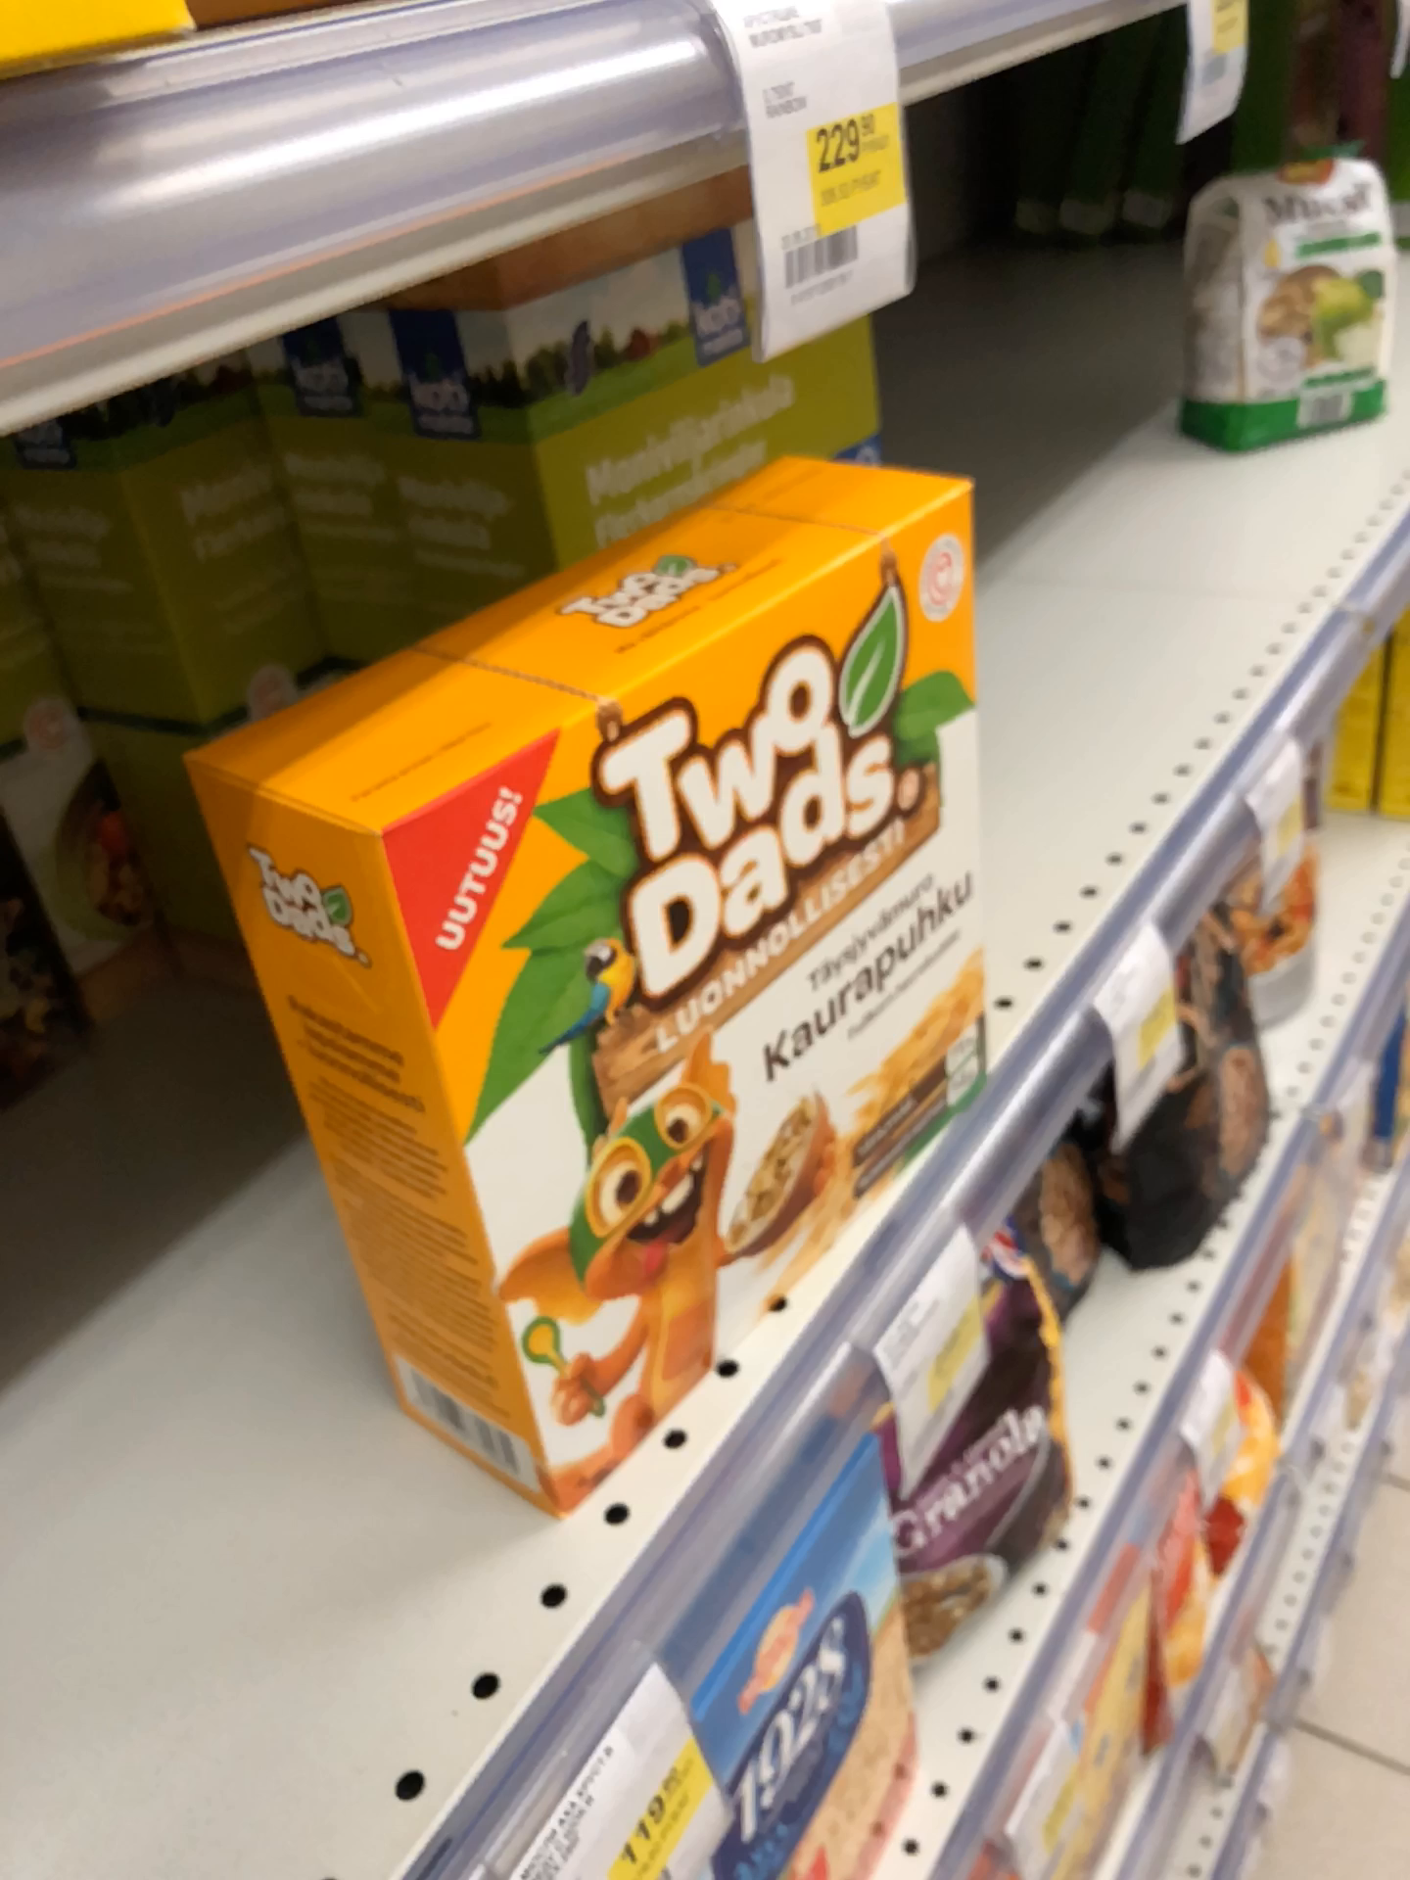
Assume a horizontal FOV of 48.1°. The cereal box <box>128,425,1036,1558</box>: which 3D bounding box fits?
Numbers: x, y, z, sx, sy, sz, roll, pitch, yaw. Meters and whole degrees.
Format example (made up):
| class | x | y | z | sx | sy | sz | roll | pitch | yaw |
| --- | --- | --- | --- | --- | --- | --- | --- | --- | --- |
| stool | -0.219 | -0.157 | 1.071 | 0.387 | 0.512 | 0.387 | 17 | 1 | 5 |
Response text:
| class | x | y | z | sx | sy | sz | roll | pitch | yaw |
| --- | --- | --- | --- | --- | --- | --- | --- | --- | --- |
| cereal box | -0.005 | 0.001 | 0.385 | 0.070 | 0.189 | 0.201 | 18 | 41 | 37 |
